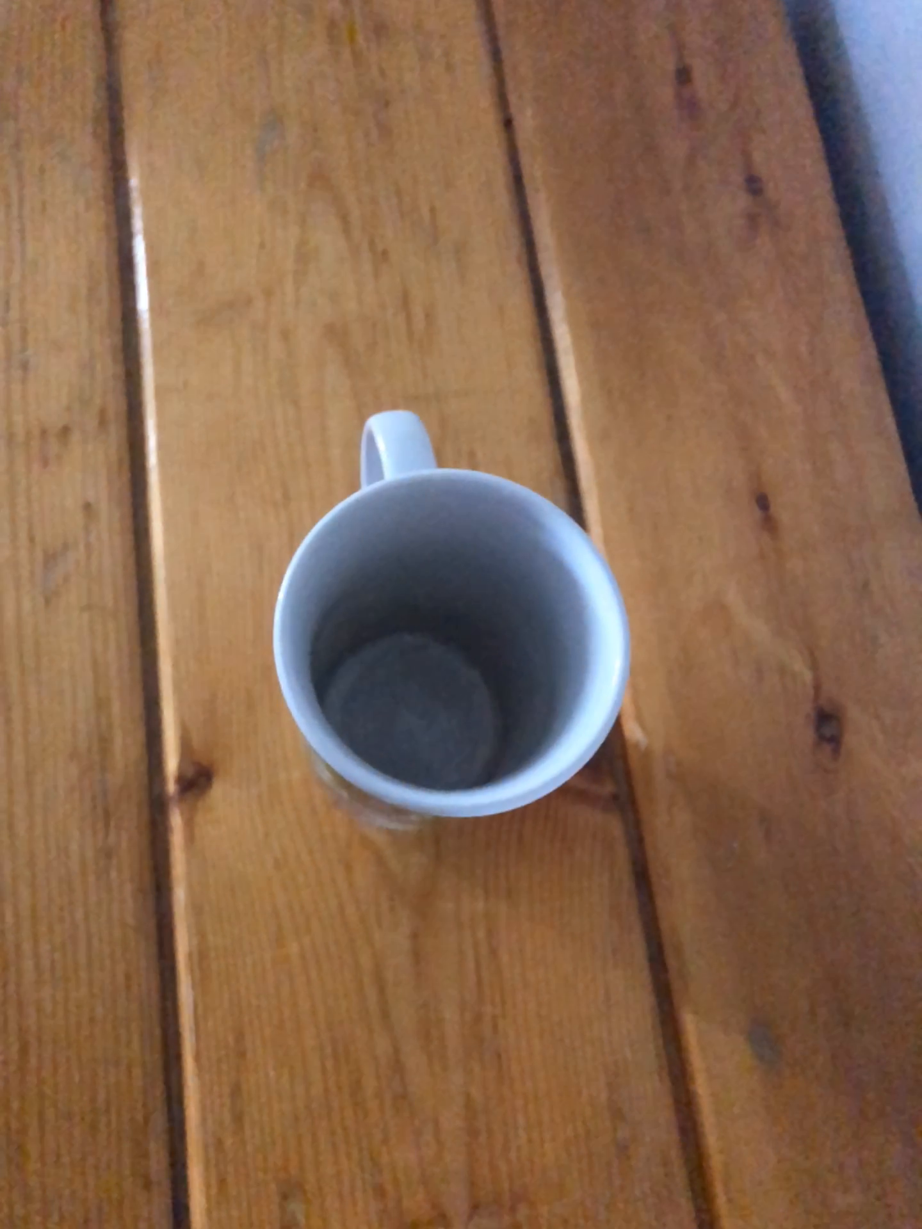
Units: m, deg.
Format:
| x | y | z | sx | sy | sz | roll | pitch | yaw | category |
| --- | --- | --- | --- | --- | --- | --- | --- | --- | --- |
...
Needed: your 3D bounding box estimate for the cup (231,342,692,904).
| x | y | z | sx | sy | sz | roll | pitch | yaw | category |
| --- | --- | --- | --- | --- | --- | --- | --- | --- | --- |
| -0.009 | 0.011 | 0.316 | 0.090 | 0.120 | 0.130 | -10 | 75 | -10 | cup |
